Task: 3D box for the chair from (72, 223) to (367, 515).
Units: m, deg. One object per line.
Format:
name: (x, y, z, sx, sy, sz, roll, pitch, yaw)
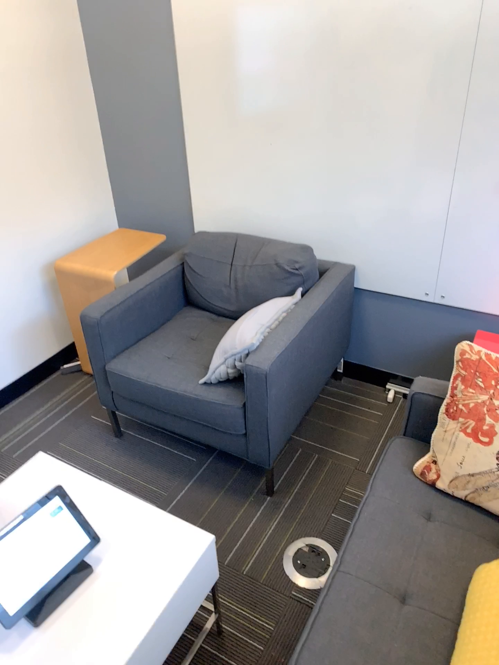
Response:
chair: (-0.058, 0.066, 2.250, 0.842, 0.716, 0.943, 14, 36, 25)
